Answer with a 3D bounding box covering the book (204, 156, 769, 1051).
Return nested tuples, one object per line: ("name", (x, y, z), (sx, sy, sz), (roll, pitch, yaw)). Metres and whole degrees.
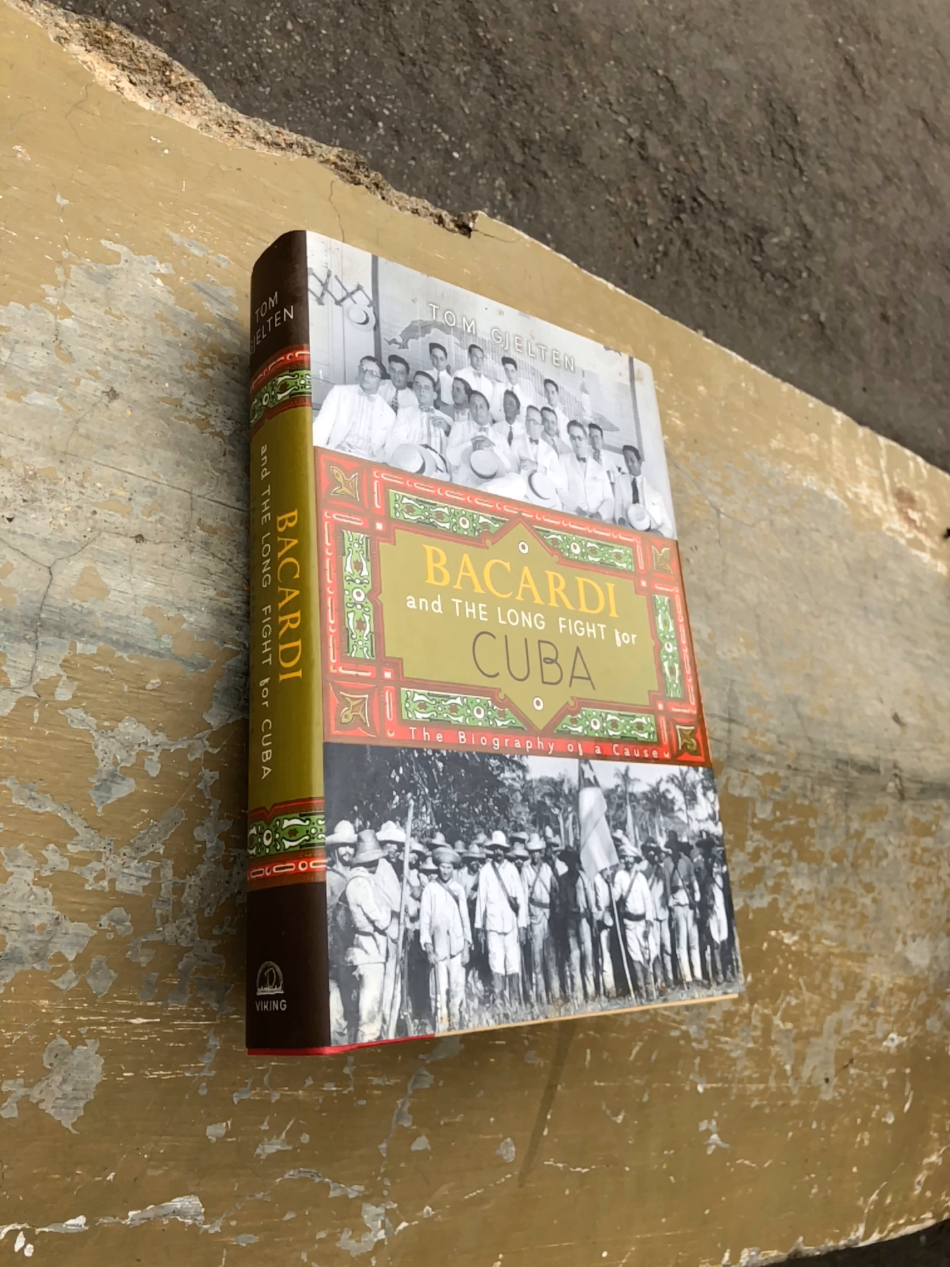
("book", (0.004, -0.005, 0.347), (0.171, 0.050, 0.250), (10, 67, -37))
